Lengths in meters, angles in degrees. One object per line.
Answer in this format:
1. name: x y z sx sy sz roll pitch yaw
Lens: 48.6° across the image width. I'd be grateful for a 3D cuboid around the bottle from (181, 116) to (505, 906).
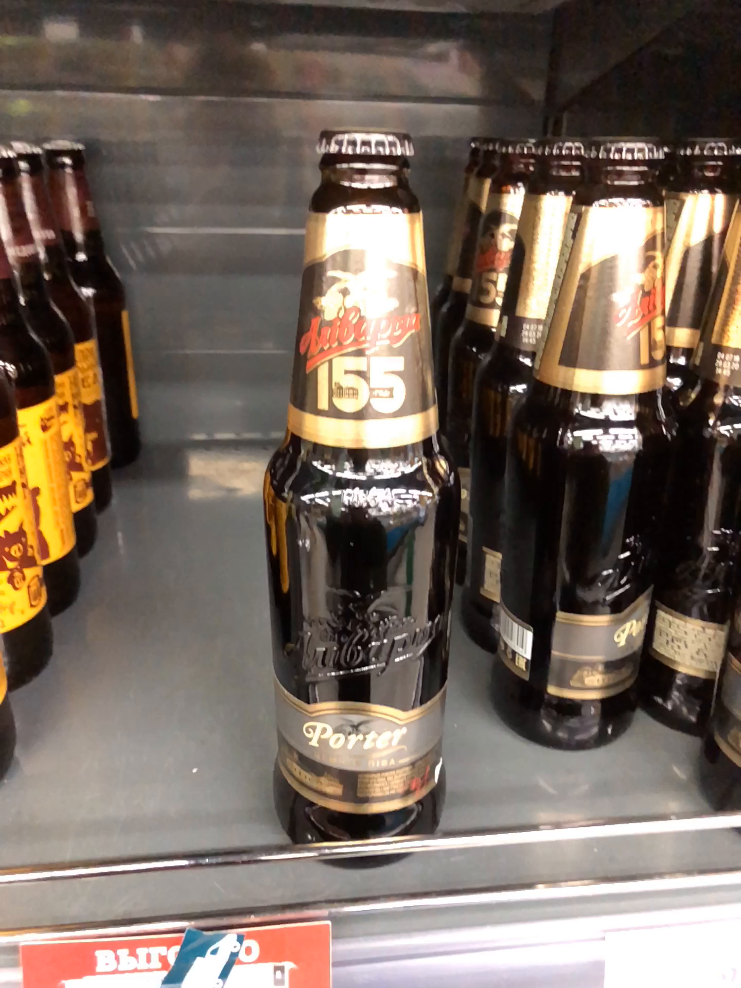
1. bottle: -0.008 0.013 0.290 0.080 0.263 0.080 1 23 0
